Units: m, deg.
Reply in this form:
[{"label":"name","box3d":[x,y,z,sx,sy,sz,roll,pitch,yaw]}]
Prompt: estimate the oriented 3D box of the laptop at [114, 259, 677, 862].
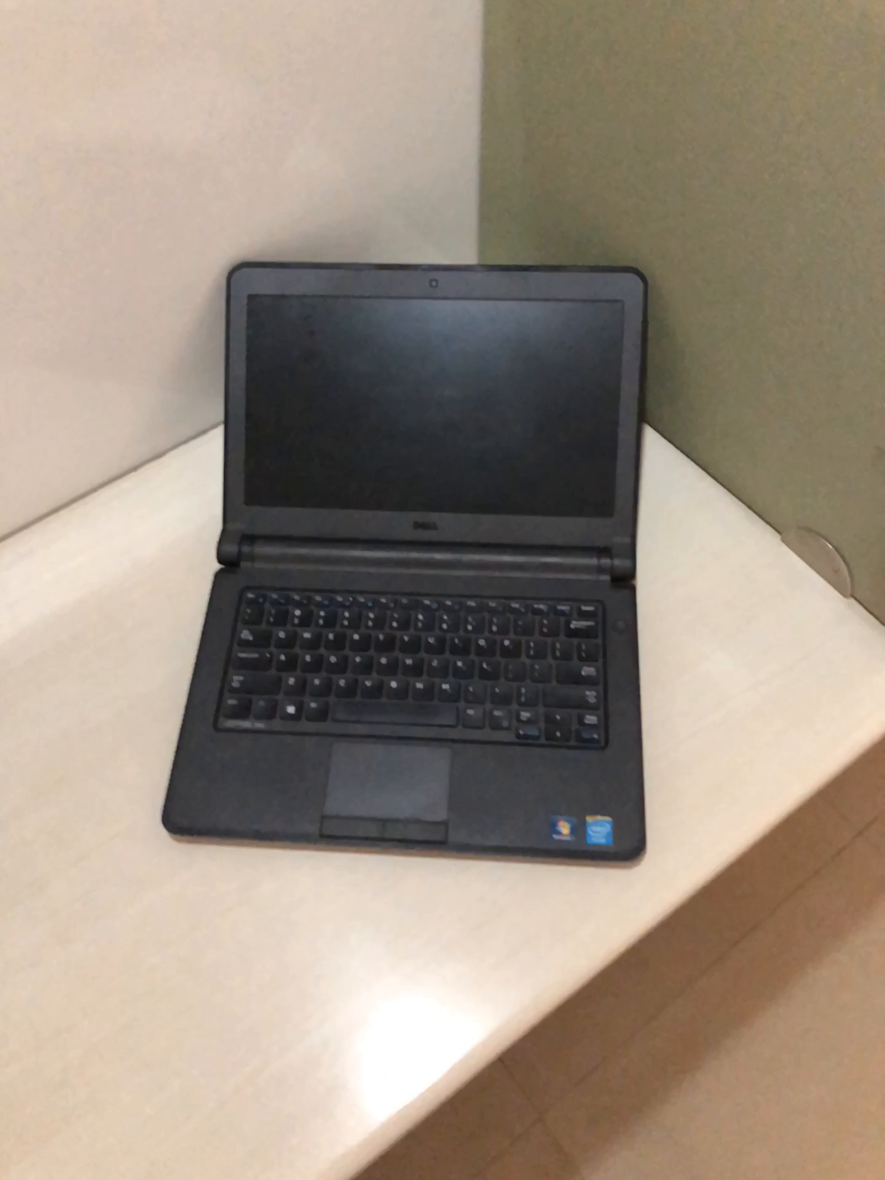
[{"label":"laptop","box3d":[-0.012,-0.039,0.679,0.309,0.128,0.395,2,60,6]}]
